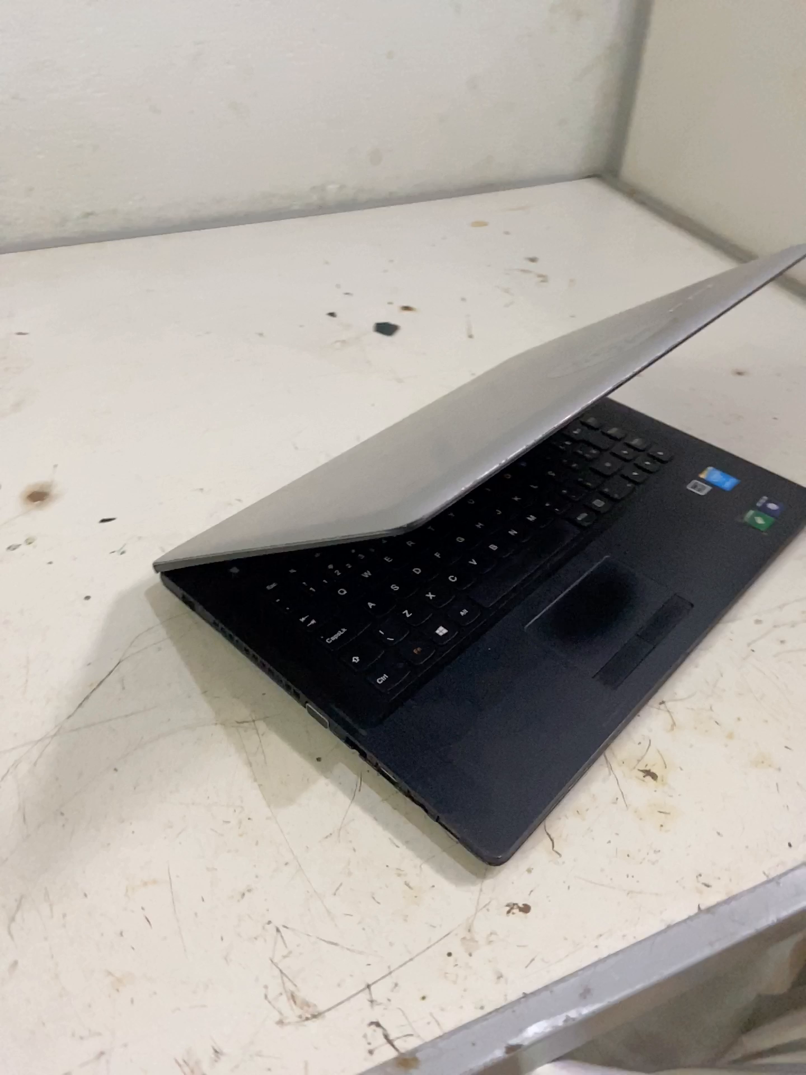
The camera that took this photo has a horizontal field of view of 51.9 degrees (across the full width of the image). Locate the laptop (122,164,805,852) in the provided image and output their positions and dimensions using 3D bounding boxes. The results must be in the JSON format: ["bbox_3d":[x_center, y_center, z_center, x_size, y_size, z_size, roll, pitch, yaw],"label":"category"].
[{"bbox_3d":[0.077,-0.062,0.460,0.245,0.148,0.345,33,50,30],"label":"laptop"}]
